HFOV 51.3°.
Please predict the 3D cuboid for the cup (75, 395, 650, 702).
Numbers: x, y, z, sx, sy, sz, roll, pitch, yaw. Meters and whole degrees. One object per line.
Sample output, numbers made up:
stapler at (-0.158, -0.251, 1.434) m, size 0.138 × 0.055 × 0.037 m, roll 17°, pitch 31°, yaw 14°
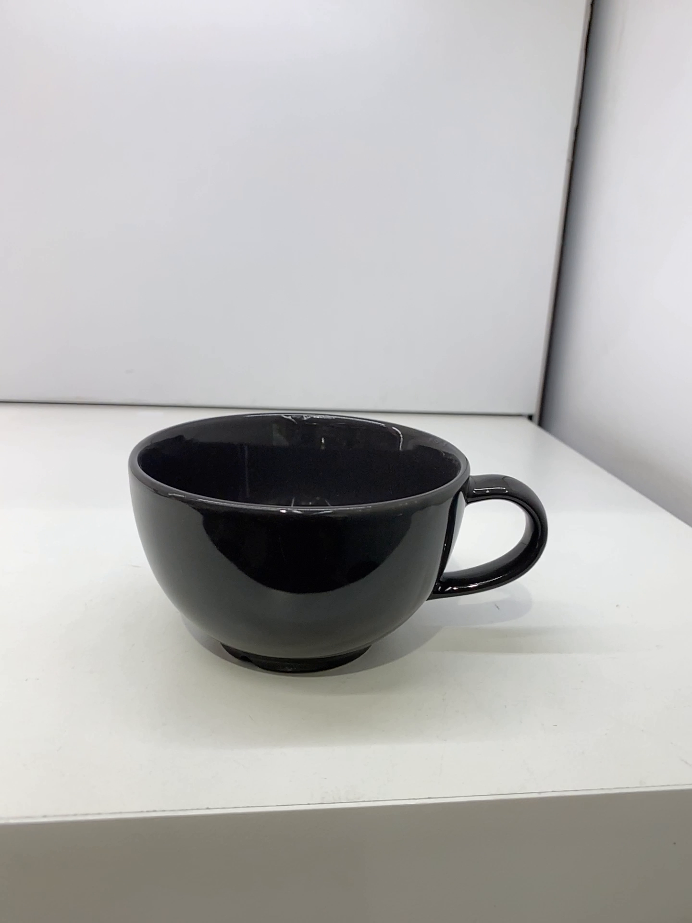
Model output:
cup at (0.002, 0.017, 0.222) m, size 0.130 × 0.050 × 0.110 m, roll 3°, pitch 15°, yaw -2°
